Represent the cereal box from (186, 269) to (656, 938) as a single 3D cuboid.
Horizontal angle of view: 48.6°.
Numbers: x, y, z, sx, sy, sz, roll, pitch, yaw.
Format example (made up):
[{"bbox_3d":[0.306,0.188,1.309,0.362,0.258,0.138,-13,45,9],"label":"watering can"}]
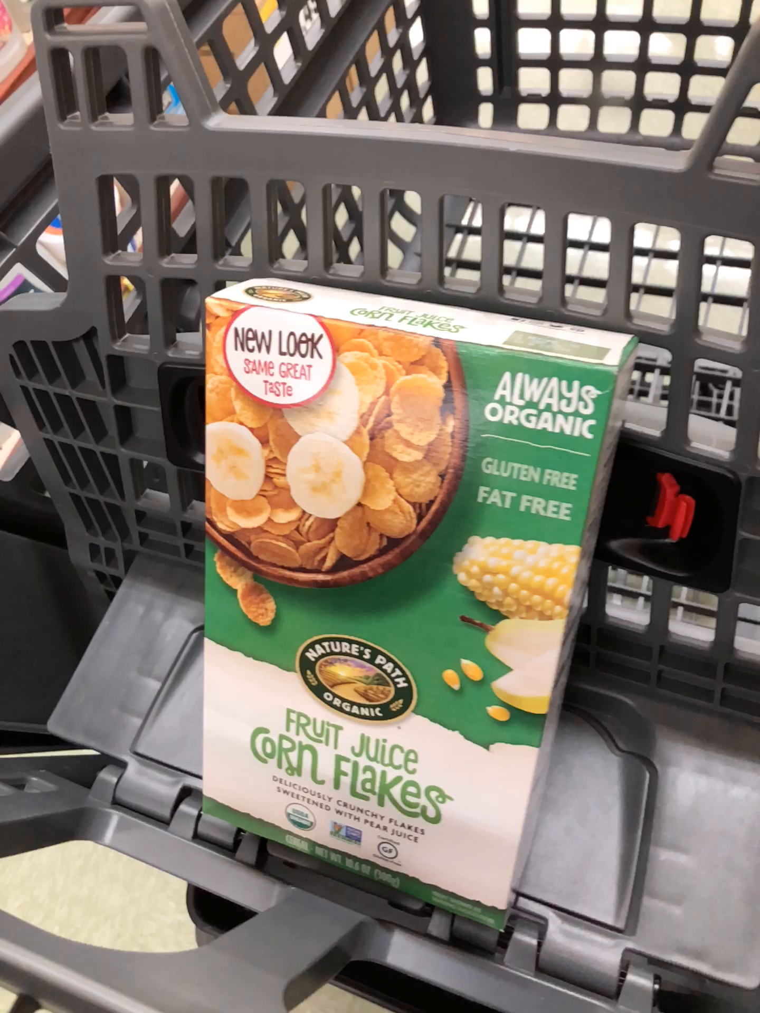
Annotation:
[{"bbox_3d":[0.006,0.036,0.339,0.150,0.230,0.070,14,24,18],"label":"cereal box"}]
